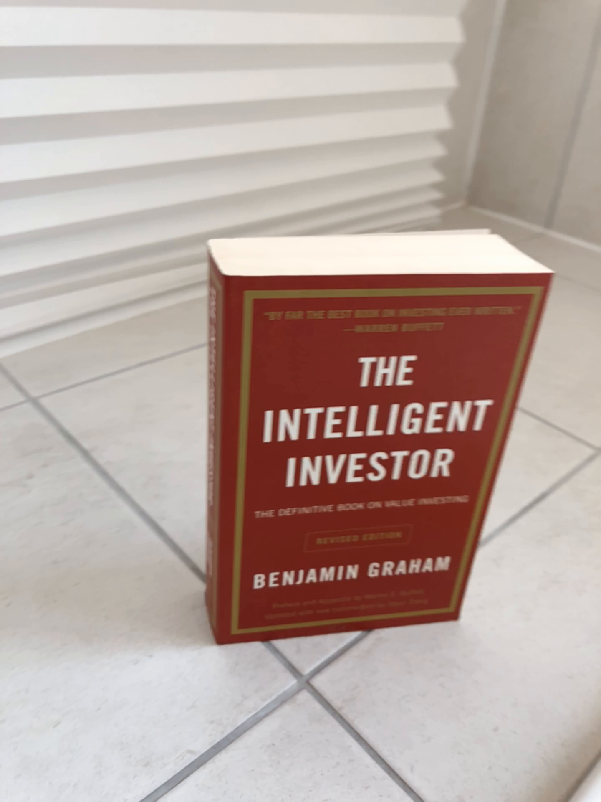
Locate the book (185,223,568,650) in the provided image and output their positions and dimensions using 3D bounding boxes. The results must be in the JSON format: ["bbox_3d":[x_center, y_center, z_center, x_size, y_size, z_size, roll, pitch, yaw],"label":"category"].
[{"bbox_3d":[0.022,0.023,0.334,0.149,0.206,0.057,-3,33,-11],"label":"book"}]
